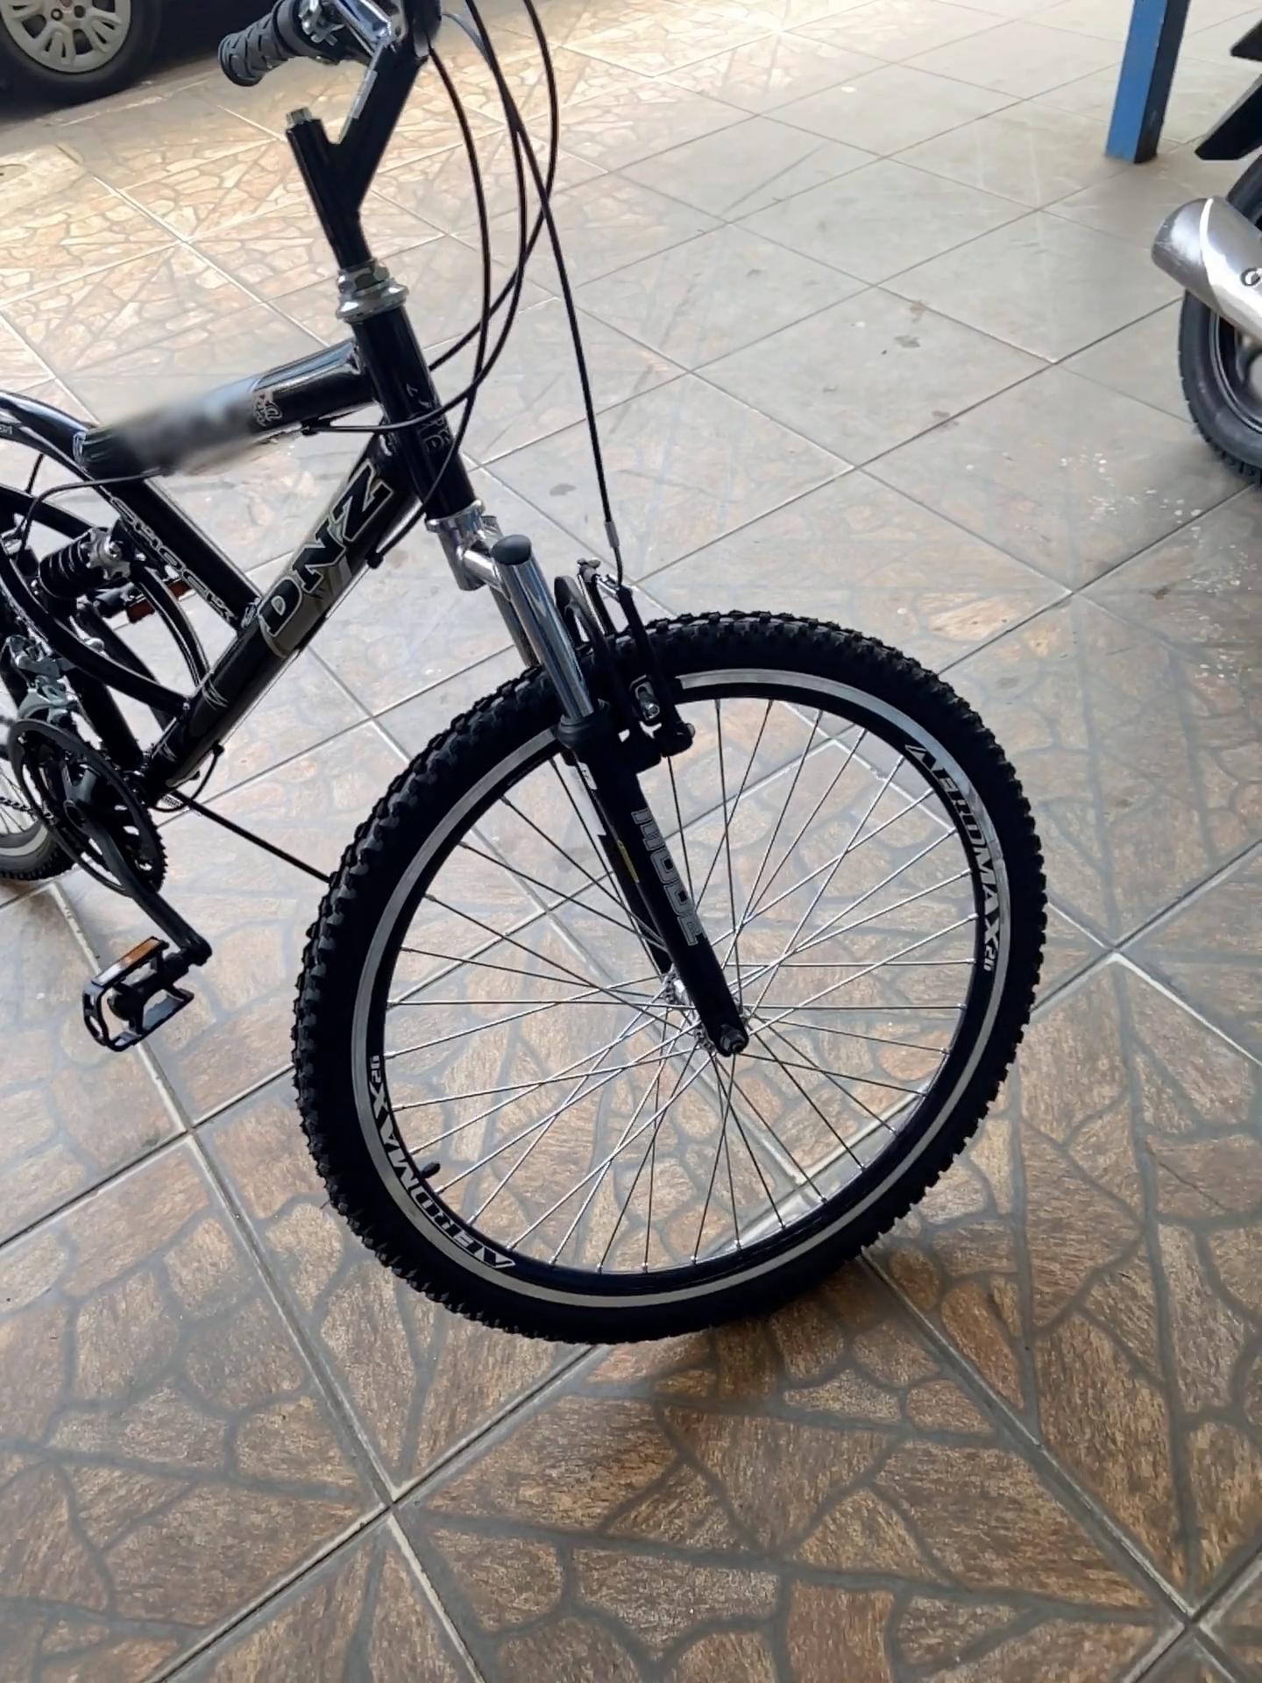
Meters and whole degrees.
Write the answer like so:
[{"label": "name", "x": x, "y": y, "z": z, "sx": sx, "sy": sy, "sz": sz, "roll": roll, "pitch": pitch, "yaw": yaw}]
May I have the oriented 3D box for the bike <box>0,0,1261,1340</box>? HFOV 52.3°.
[{"label": "bike", "x": -0.456, "y": -0.320, "z": 1.127, "sx": 1.586, "sy": 1.154, "sz": 0.606, "roll": 13, "pitch": 52, "yaw": 22}]
